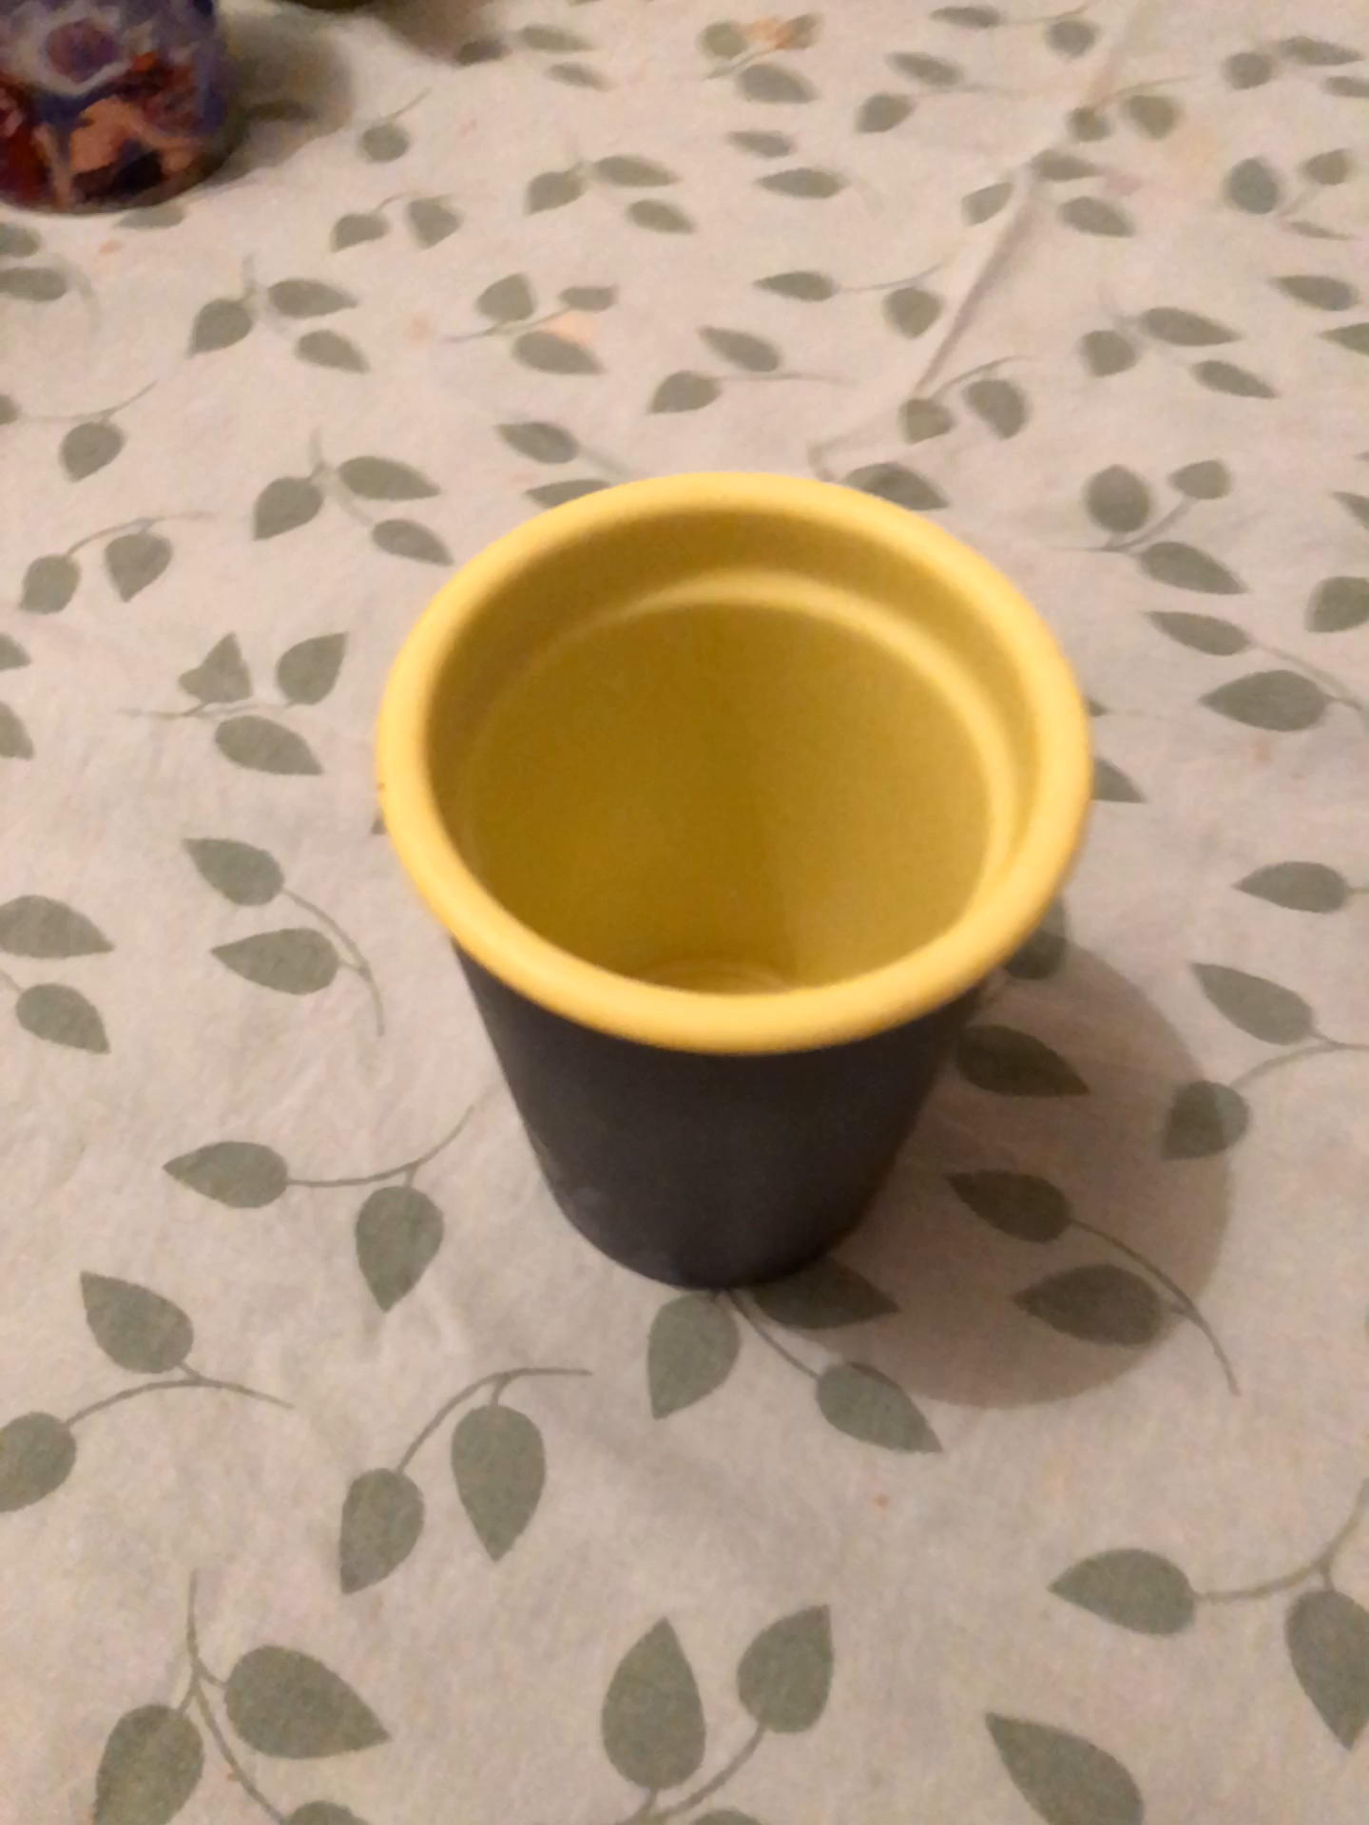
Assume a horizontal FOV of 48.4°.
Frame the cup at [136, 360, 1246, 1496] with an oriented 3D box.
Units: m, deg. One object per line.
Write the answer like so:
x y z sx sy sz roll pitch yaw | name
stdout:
0.002 0.008 0.221 0.090 0.109 0.090 0 59 0 | cup
